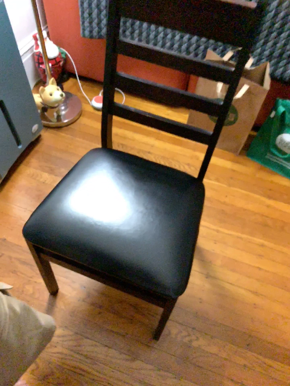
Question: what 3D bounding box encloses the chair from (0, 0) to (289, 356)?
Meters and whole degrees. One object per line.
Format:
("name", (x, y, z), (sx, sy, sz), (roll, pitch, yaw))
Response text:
("chair", (-0.032, -0.020, 0.765), (0.490, 0.867, 0.552), (17, 56, 8))
